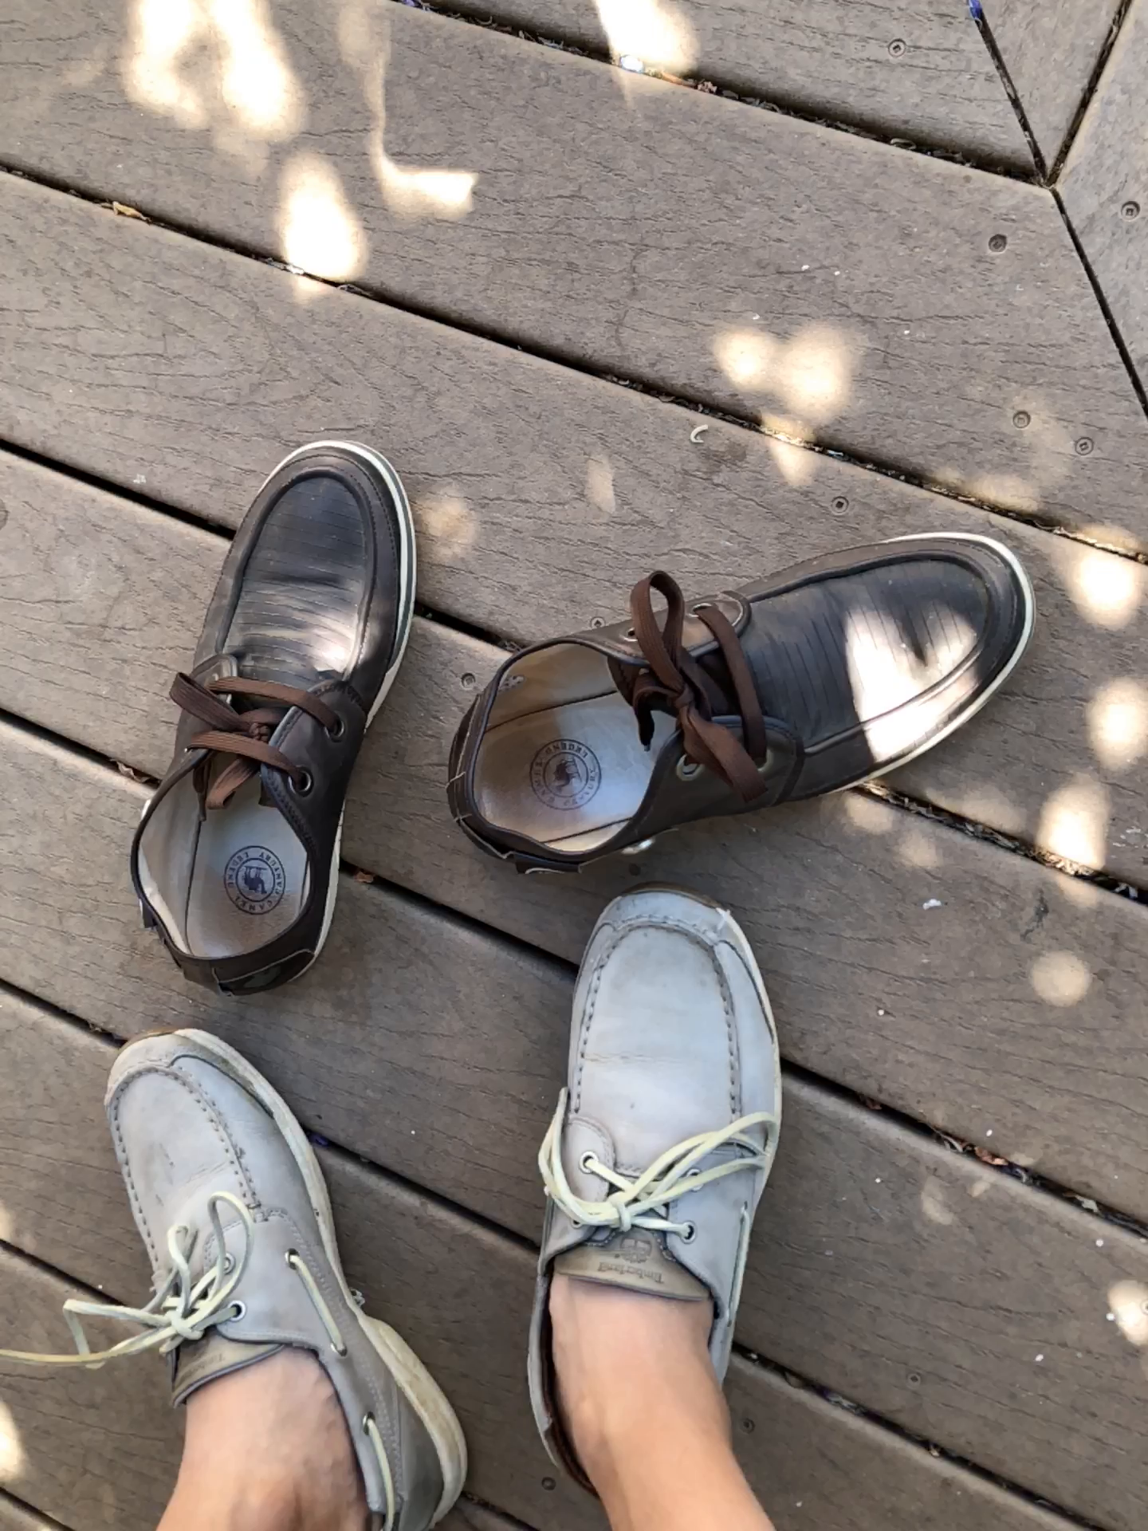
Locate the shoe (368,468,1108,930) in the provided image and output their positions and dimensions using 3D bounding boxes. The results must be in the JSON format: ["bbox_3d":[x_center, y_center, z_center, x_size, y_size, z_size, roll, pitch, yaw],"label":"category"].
[{"bbox_3d":[0.065,-0.023,0.545,0.277,0.079,0.109,-17,90,14],"label":"shoe"}]

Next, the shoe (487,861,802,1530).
[{"bbox_3d":[0.035,0.199,0.562,0.109,0.101,0.293,4,95,12],"label":"shoe"}]

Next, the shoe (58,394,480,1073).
[{"bbox_3d":[-0.142,-0.014,0.586,0.109,0.069,0.279,18,99,11],"label":"shoe"}]

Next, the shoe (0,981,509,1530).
[{"bbox_3d":[-0.158,0.267,0.606,0.109,0.086,0.292,-29,87,12],"label":"shoe"}]
